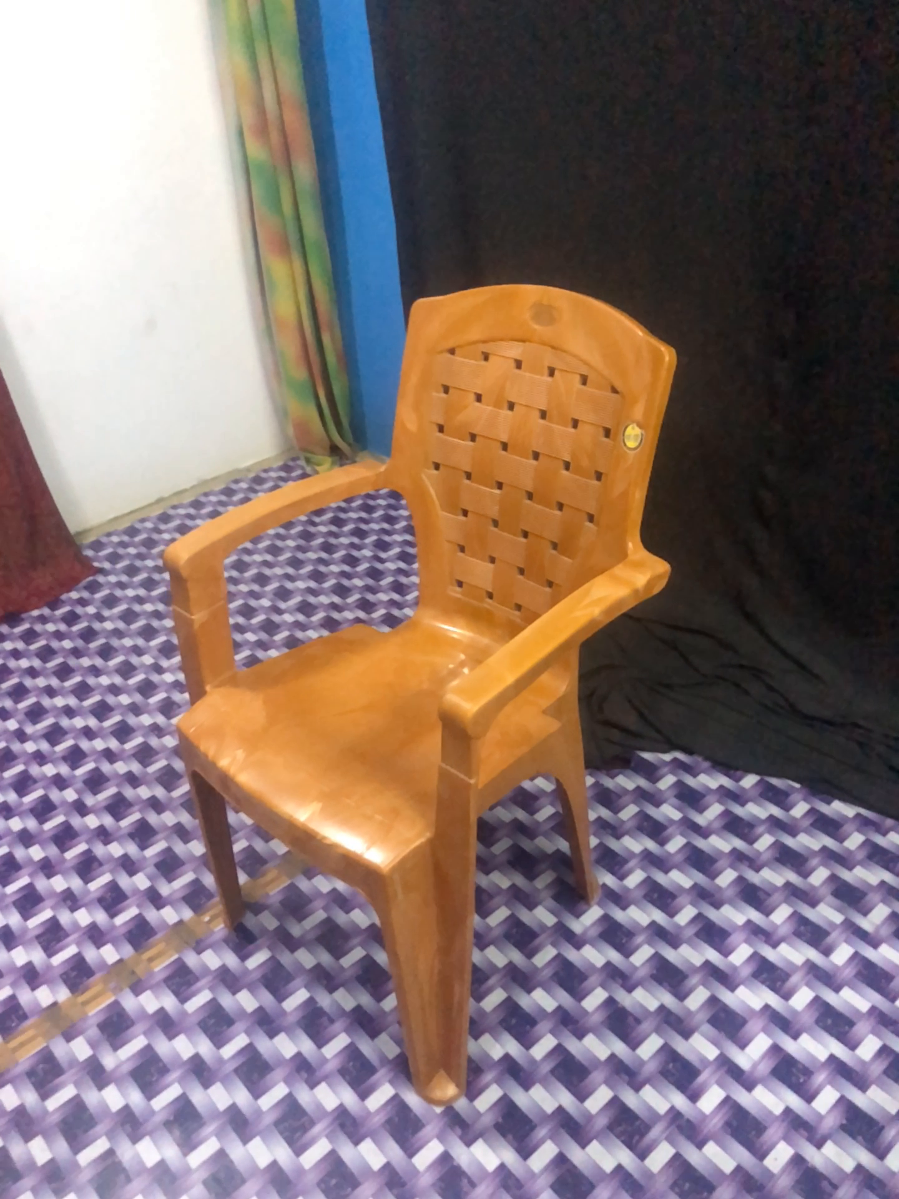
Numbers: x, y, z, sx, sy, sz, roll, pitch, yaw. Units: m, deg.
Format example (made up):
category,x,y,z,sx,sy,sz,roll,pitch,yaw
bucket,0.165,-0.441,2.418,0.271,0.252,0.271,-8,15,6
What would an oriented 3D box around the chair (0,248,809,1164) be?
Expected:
category,x,y,z,sx,sy,sz,roll,pitch,yaw
chair,-0.031,0.061,1.273,0.663,0.786,0.601,-30,41,-34
